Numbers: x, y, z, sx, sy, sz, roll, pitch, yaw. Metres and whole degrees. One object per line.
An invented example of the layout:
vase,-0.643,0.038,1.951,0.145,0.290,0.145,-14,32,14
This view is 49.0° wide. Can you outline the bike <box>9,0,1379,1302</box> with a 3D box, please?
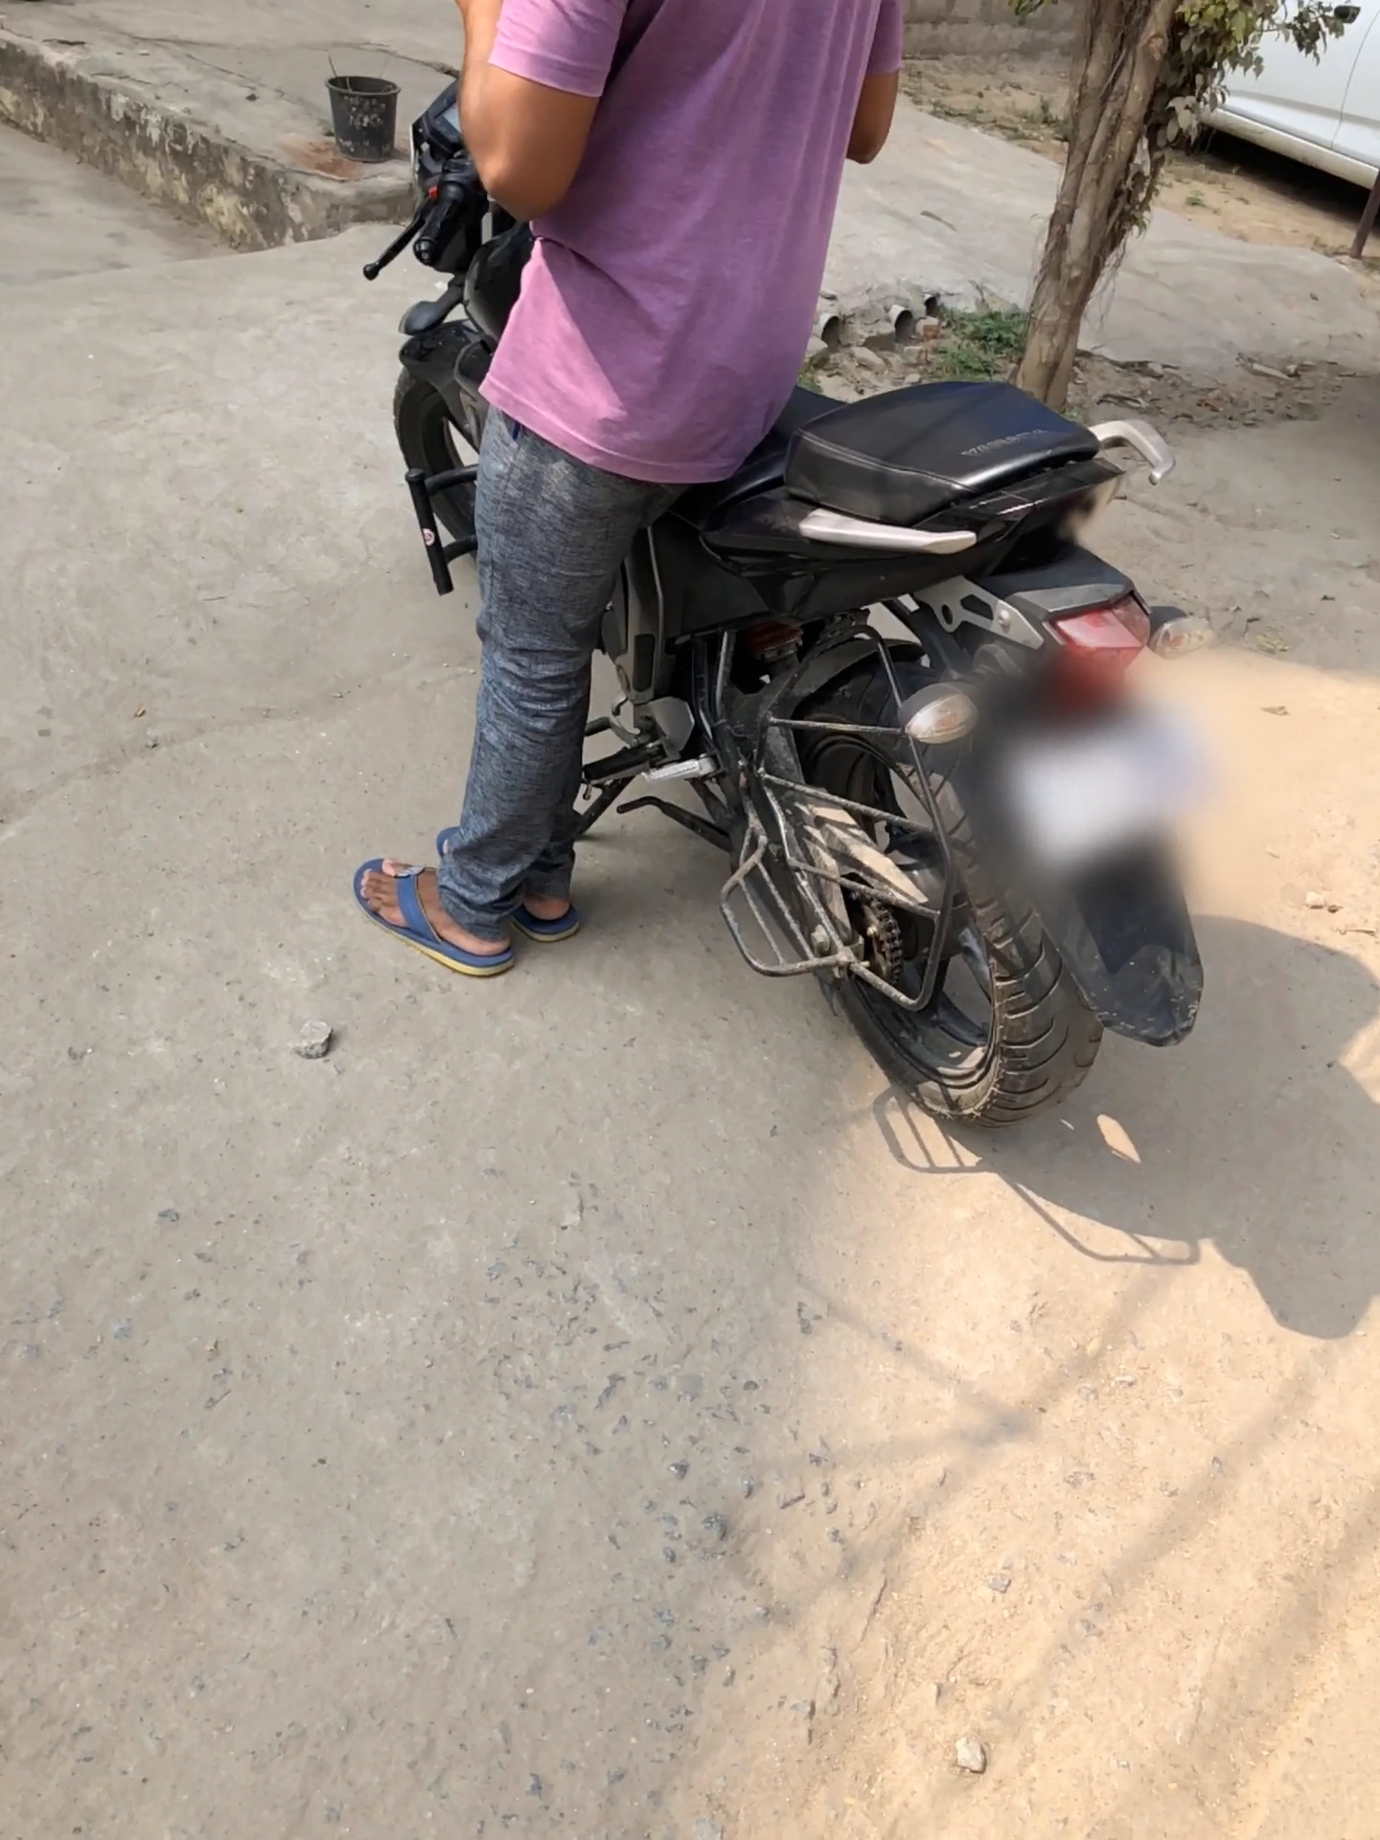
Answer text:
bike,-0.170,-0.573,1.842,0.686,0.959,1.690,-15,46,-30
